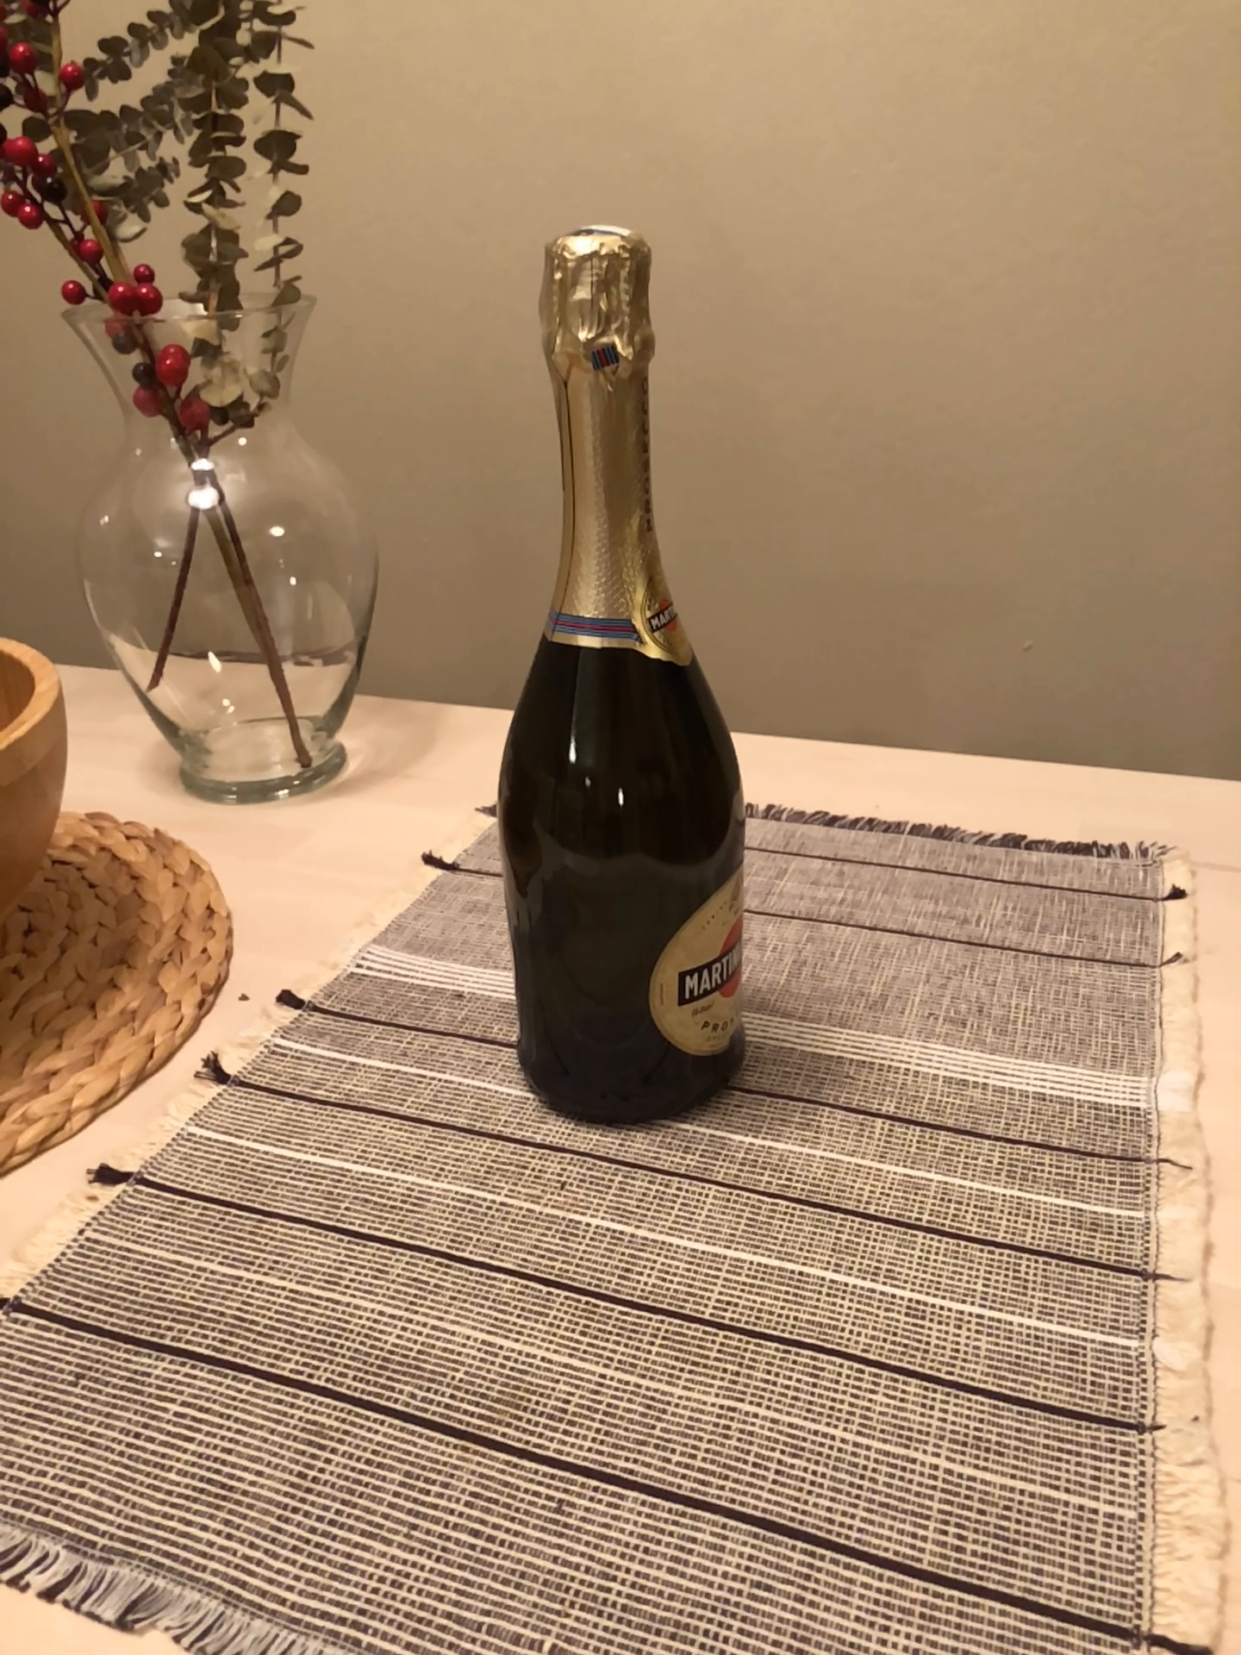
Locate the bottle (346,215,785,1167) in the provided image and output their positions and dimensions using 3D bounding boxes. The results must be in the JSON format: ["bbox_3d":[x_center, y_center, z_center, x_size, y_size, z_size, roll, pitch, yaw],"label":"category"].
[{"bbox_3d":[-0.008,-0.047,0.489,0.100,0.308,0.101,-2,24,1],"label":"bottle"}]
